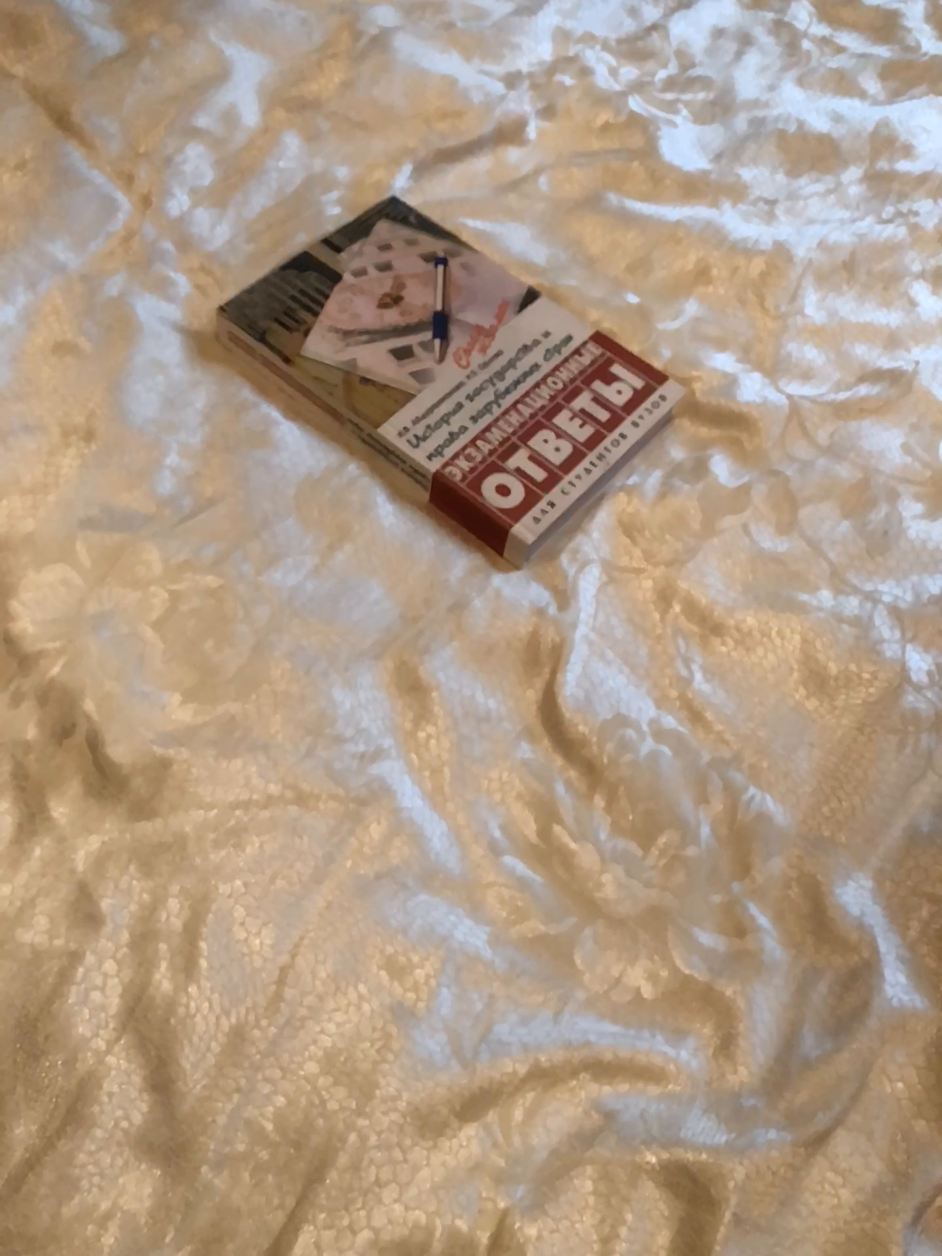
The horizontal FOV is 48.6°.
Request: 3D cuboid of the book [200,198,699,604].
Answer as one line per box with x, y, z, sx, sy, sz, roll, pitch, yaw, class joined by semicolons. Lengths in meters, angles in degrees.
-0.011;-0.129;0.549;0.210;0.030;0.151;38;63;16;book
